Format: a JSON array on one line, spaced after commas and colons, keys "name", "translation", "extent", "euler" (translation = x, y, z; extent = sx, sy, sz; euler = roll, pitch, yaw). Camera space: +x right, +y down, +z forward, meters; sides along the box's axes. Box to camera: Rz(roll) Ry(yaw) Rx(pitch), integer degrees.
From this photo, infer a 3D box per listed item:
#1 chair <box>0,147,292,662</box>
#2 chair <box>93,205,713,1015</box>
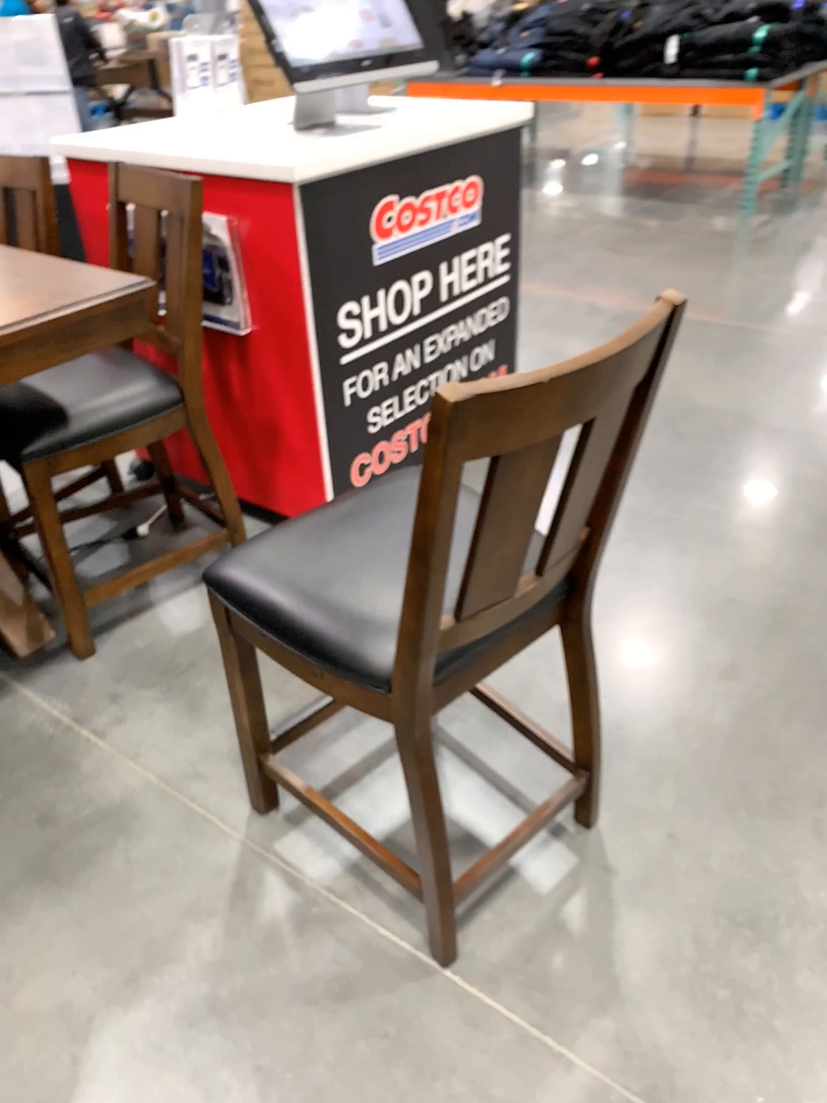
[{"name": "chair", "translation": [-0.786, -0.390, 2.077], "extent": [0.598, 0.952, 0.656], "euler": [-29, 42, -34]}, {"name": "chair", "translation": [-0.003, 0.071, 1.365], "extent": [0.589, 1.022, 0.525], "euler": [27, 44, 37]}]
